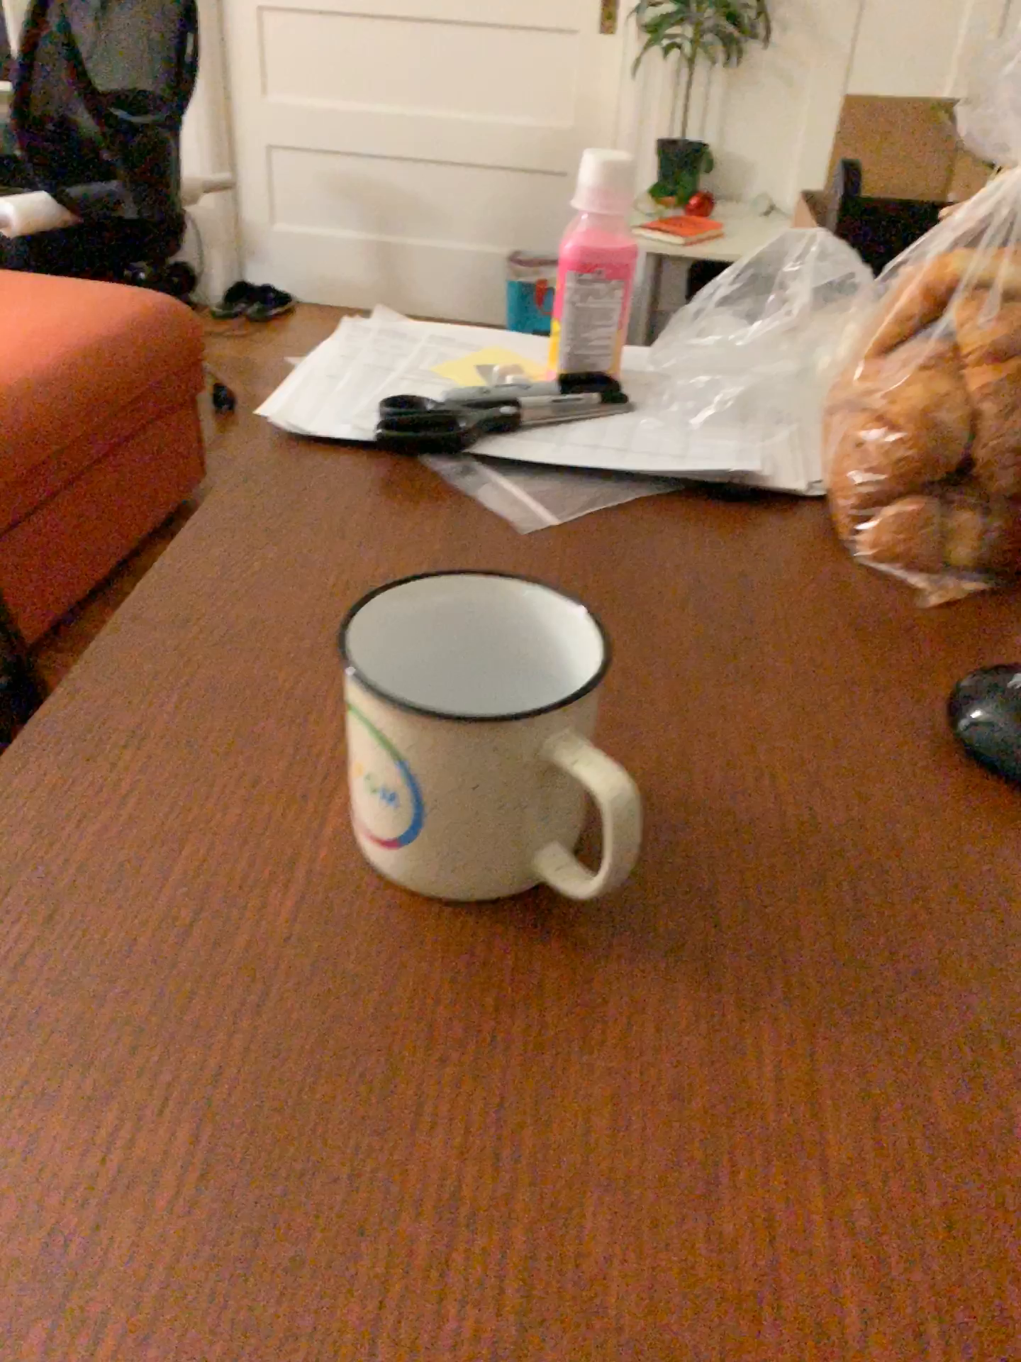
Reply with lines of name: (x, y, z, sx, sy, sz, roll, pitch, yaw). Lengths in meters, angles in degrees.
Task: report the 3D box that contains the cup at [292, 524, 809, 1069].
cup: (0.005, 0.030, 0.378, 0.100, 0.099, 0.151, -22, 42, -32)
